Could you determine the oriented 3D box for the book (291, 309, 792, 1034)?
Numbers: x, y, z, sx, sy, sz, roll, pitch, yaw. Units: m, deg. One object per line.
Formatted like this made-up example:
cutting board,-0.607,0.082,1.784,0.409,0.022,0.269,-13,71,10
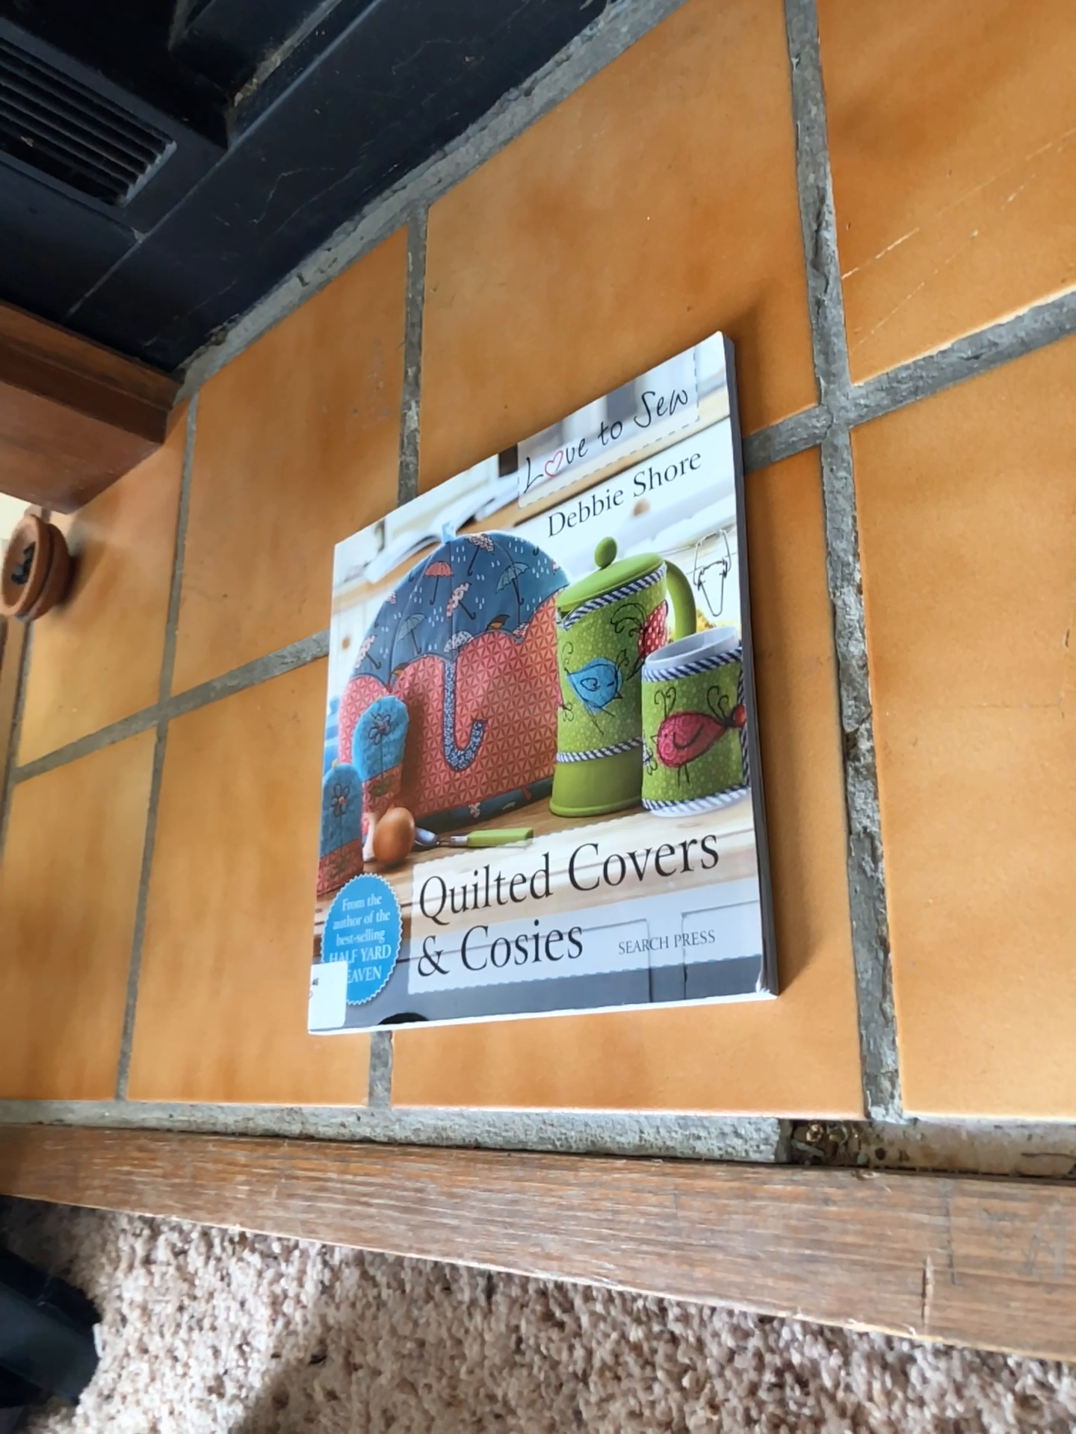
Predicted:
book,-0.015,-0.002,0.436,0.226,0.015,0.219,-18,65,42
